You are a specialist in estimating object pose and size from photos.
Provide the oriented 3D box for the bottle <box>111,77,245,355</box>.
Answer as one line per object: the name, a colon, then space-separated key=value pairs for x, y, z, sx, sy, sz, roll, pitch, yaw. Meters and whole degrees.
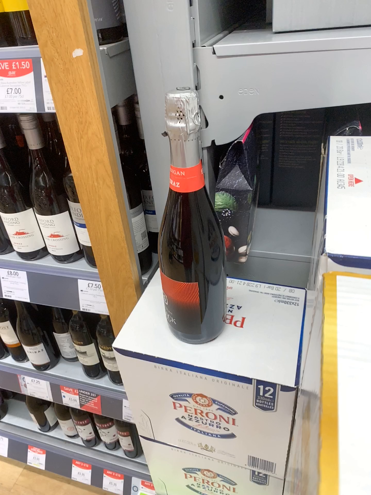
bottle: x=0.002 y=-0.024 z=0.432 sx=0.094 sy=0.289 sz=0.091 roll=-4 pitch=34 yaw=3
